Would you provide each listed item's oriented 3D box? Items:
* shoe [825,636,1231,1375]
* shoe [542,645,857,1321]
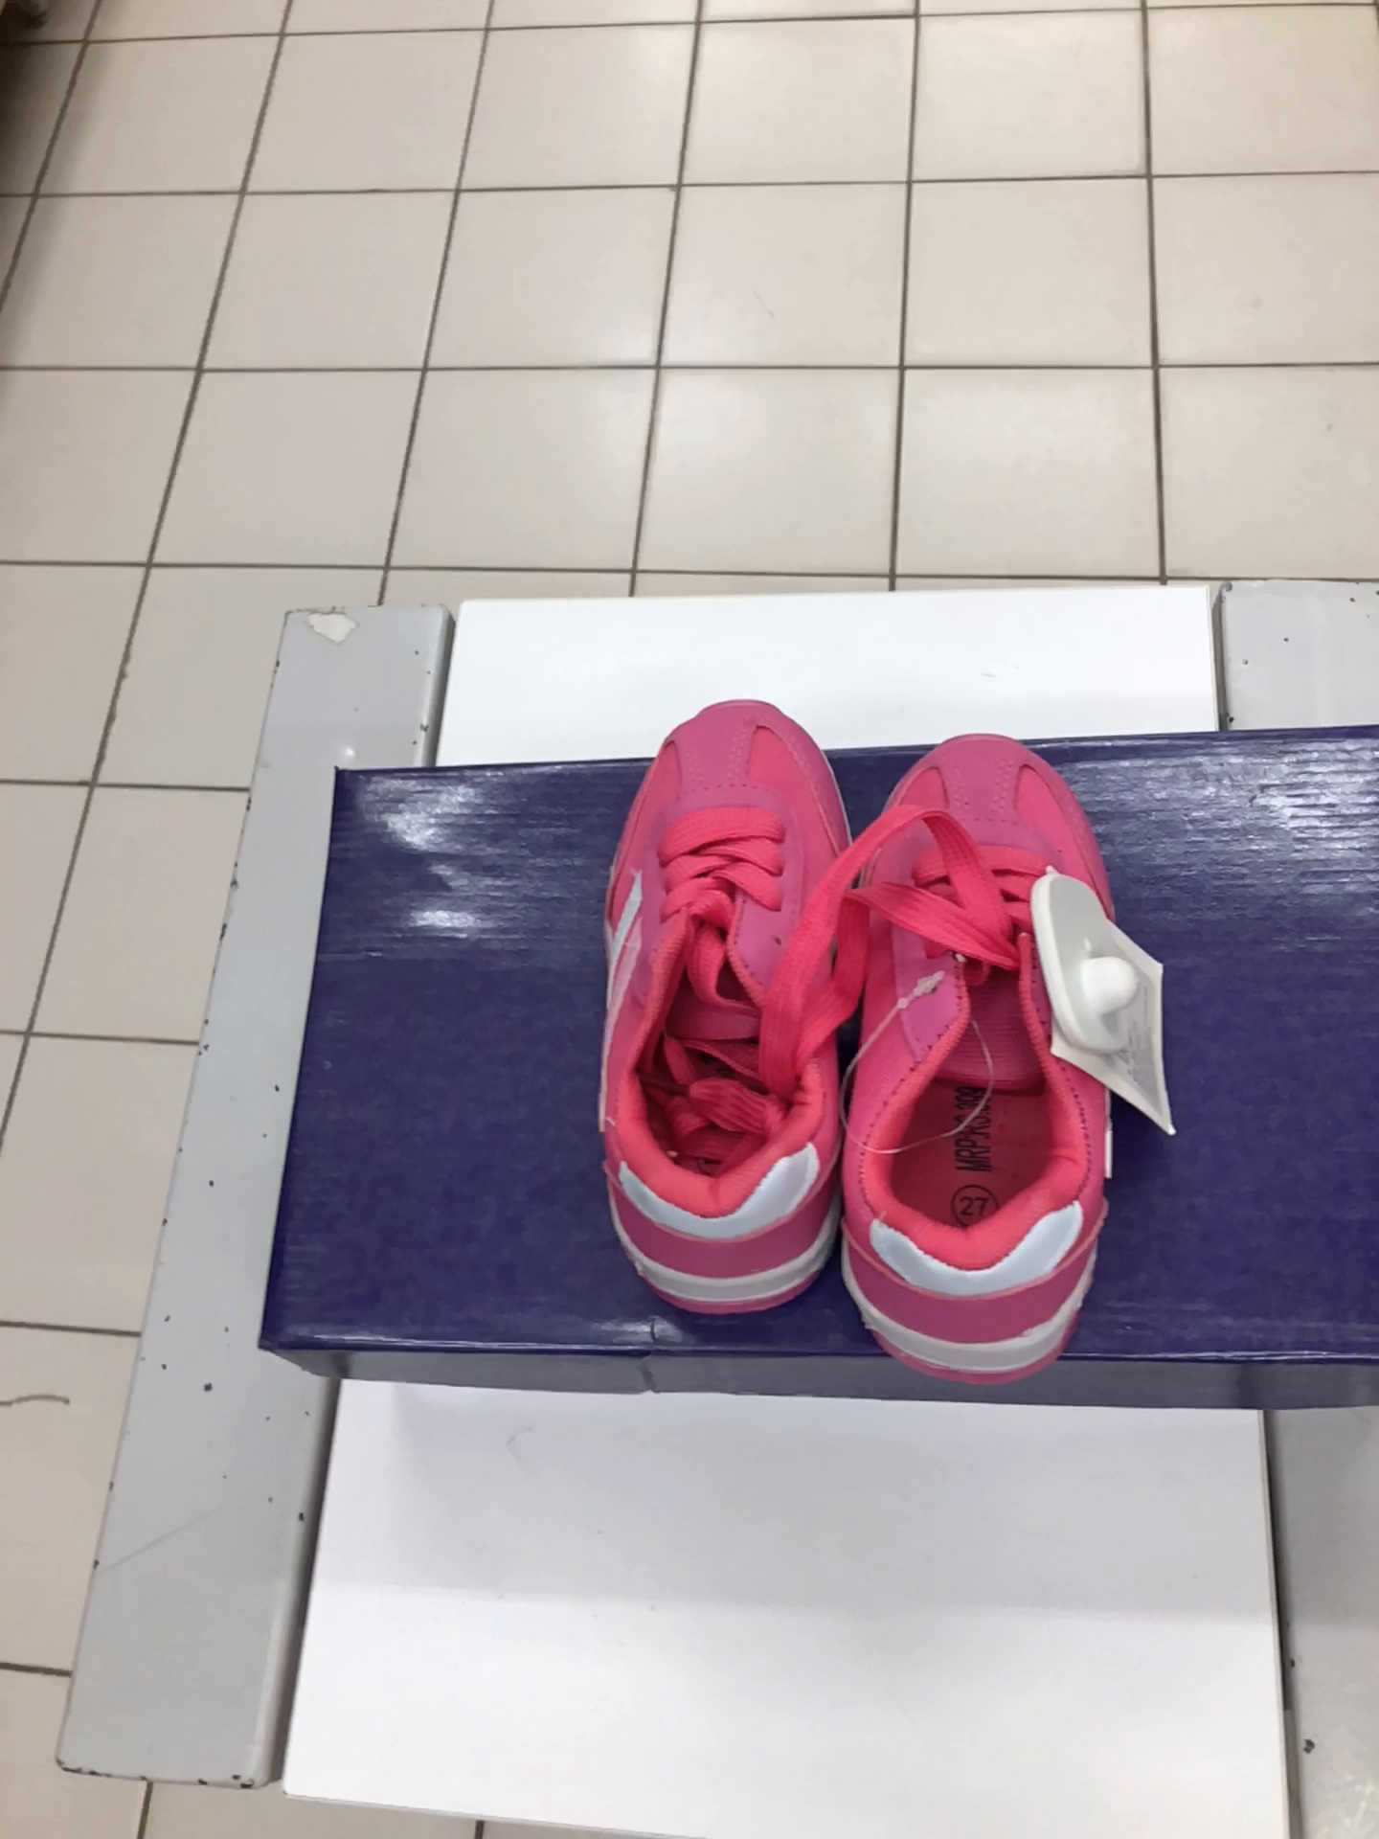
[{"bbox_3d":[0.076,0.024,0.378,0.080,0.090,0.160,0,68,7],"label":"shoe"},{"bbox_3d":[0.010,0.020,0.413,0.070,0.090,0.160,0,68,7],"label":"shoe"}]
